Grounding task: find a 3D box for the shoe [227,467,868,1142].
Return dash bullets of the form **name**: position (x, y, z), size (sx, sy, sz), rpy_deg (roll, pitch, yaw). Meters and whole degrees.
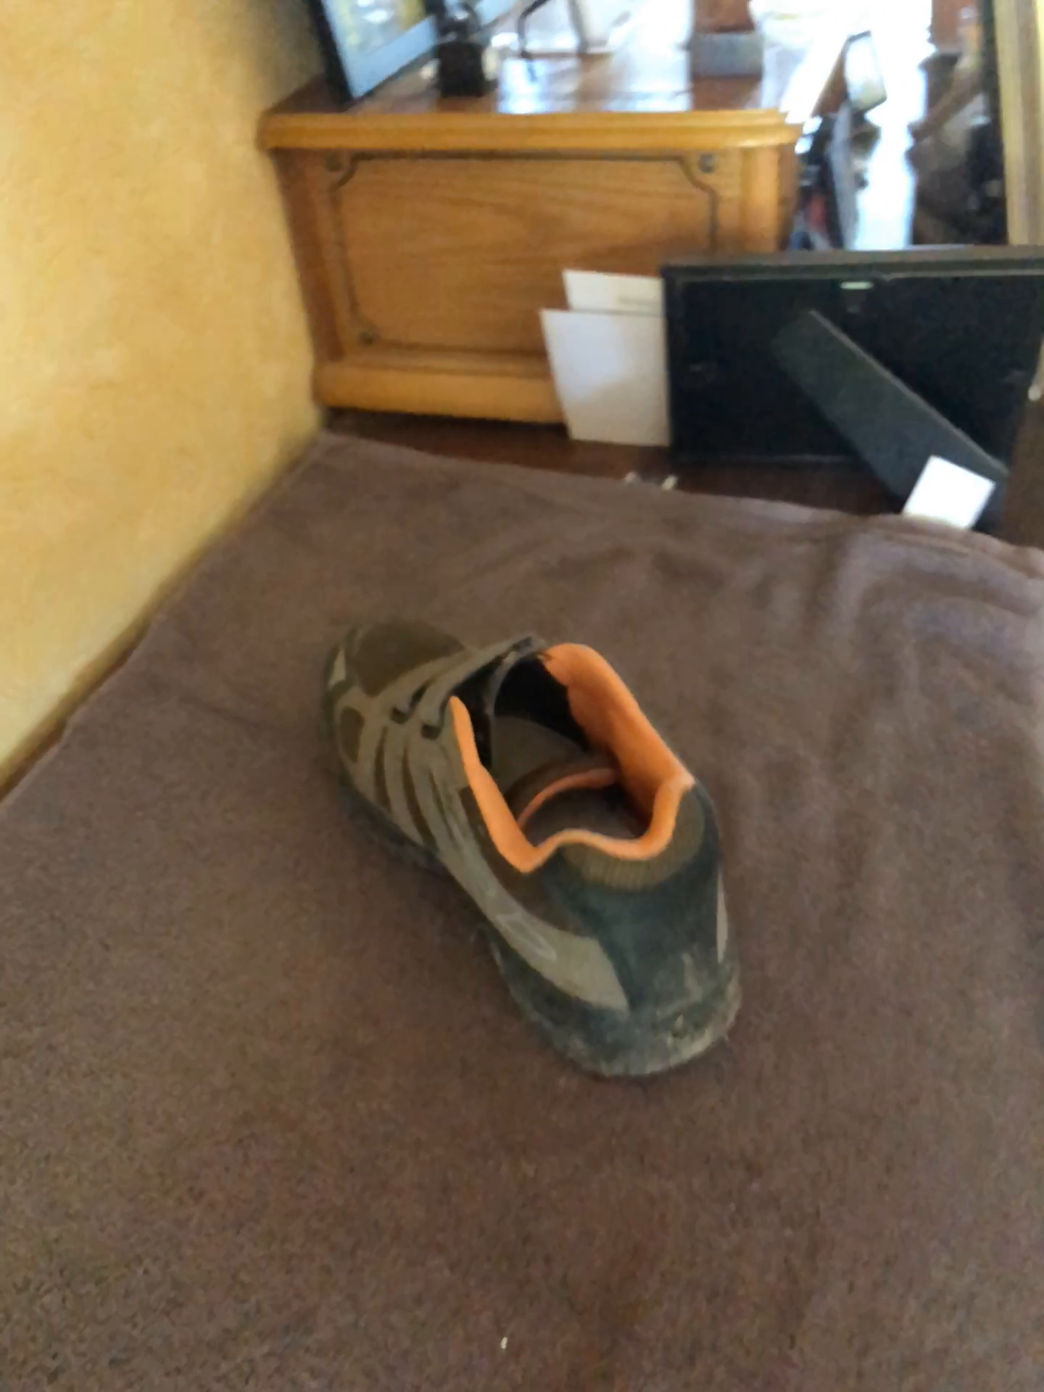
- **shoe**: position (-0.005, 0.021, 0.470), size (0.110, 0.099, 0.271), rpy_deg (-26, 44, -22)
